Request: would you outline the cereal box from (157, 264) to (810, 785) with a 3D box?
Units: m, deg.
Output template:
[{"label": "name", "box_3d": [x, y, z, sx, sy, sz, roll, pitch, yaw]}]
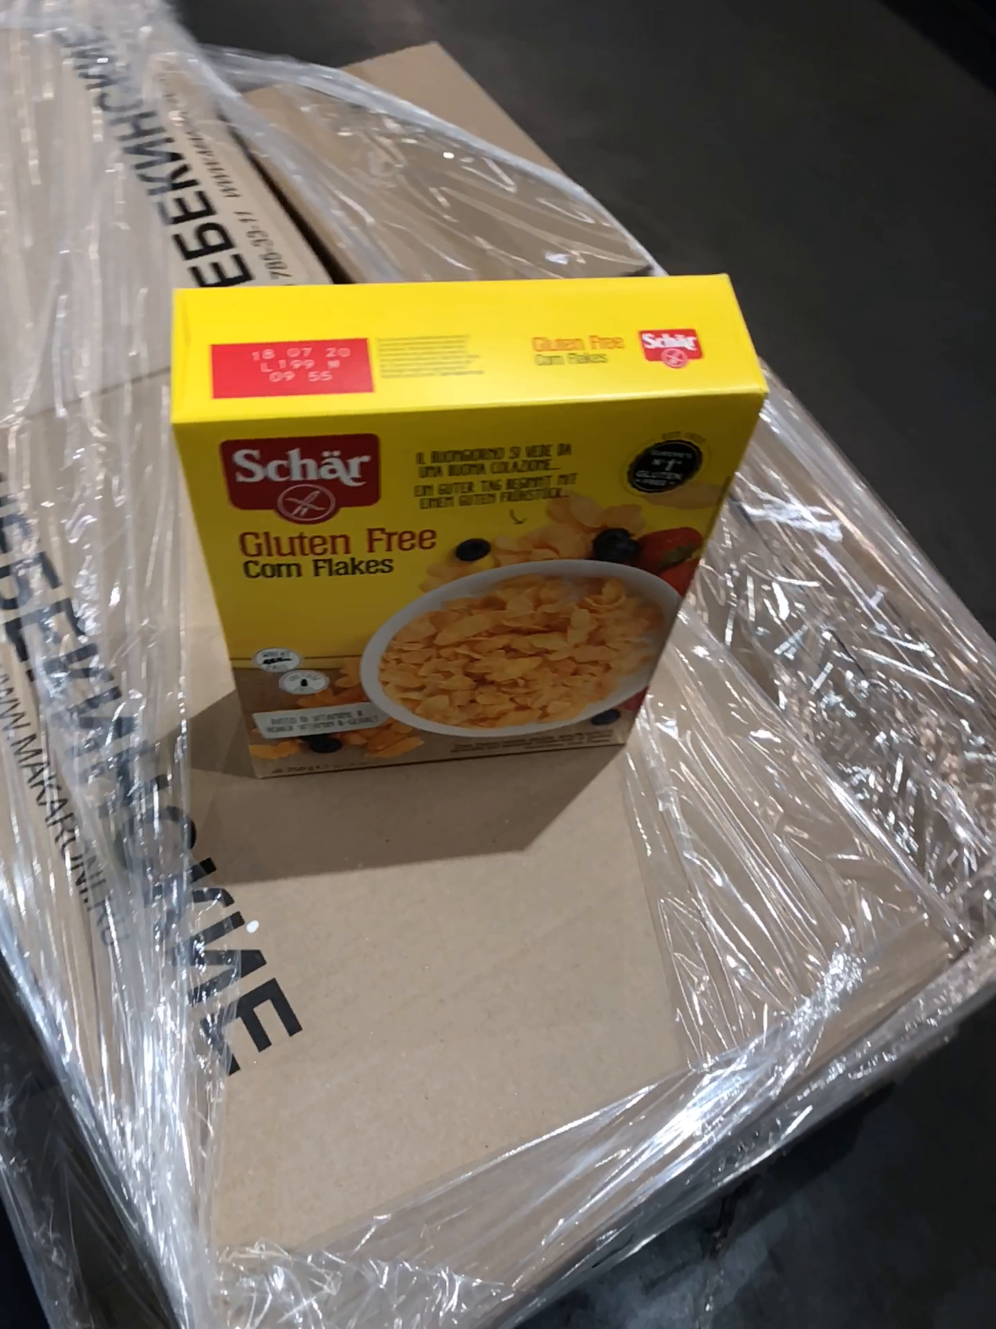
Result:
[{"label": "cereal box", "box_3d": [-0.016, -0.040, 0.451, 0.200, 0.249, 0.060, -4, 59, -9]}]
